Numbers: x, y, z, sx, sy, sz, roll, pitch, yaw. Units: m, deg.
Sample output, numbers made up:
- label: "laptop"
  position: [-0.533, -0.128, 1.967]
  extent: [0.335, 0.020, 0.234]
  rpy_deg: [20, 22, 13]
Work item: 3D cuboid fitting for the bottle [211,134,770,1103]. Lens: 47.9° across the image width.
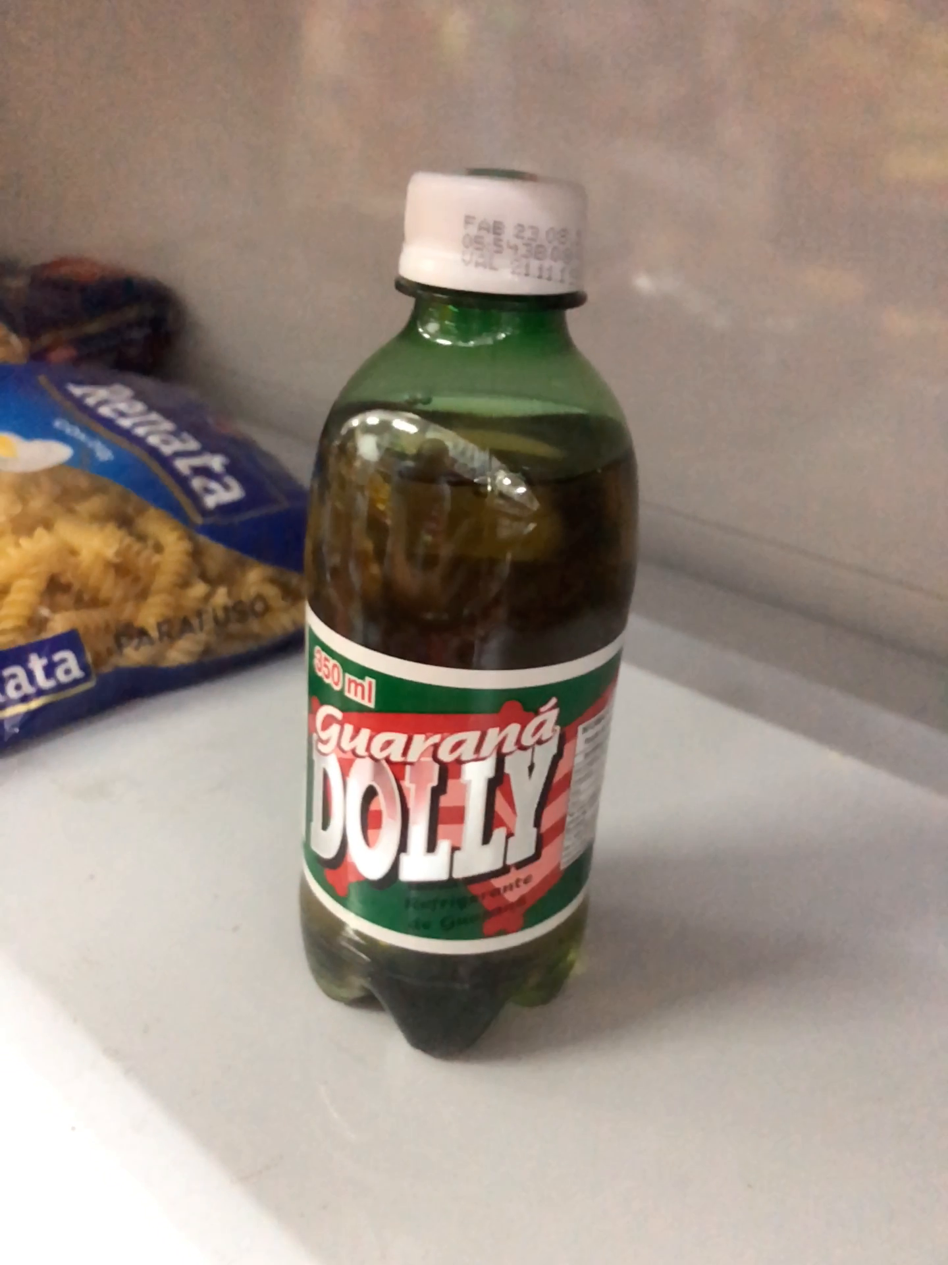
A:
- label: "bottle"
  position: [0.002, -0.001, 0.222]
  extent: [0.080, 0.179, 0.071]
  rpy_deg: [7, 27, 7]
